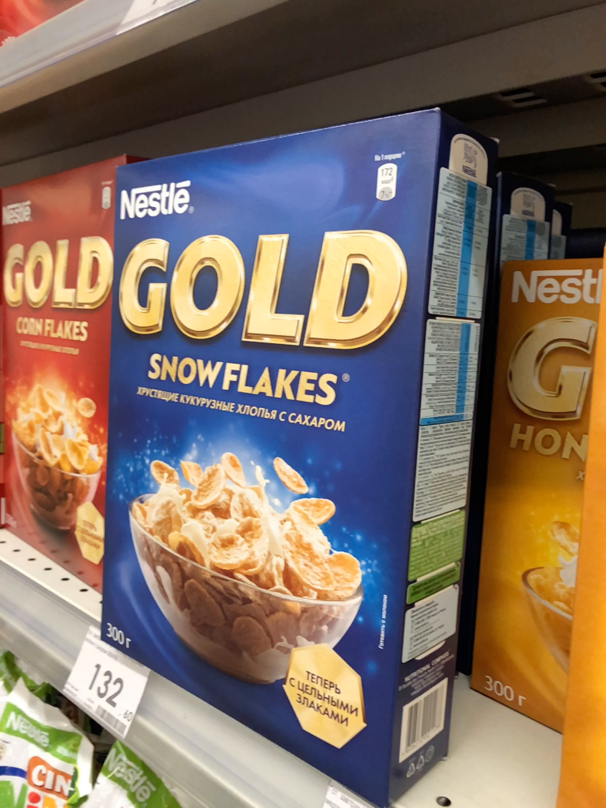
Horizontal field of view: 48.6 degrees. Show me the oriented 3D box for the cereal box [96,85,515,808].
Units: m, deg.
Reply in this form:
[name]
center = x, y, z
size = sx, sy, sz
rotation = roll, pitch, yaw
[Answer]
[cereal box]
center = -0.017, 0.015, 0.320
size = 0.200, 0.270, 0.050
rotation = 8, 7, 40
